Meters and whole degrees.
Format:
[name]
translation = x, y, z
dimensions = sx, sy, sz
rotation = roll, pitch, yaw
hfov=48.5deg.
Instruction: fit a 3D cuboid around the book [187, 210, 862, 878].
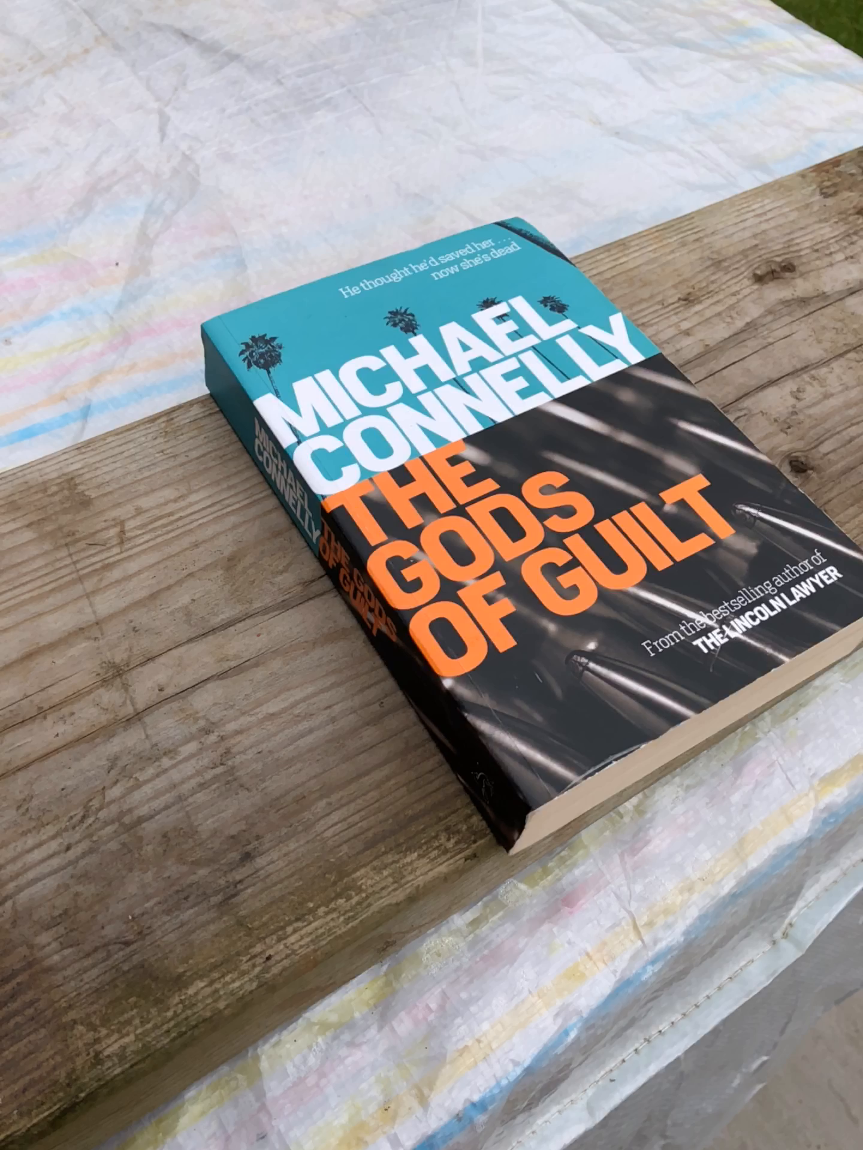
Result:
[book]
translation = 0.030, -0.030, 0.311
dimensions = 0.140, 0.040, 0.201
rotation = -25, 60, -21
